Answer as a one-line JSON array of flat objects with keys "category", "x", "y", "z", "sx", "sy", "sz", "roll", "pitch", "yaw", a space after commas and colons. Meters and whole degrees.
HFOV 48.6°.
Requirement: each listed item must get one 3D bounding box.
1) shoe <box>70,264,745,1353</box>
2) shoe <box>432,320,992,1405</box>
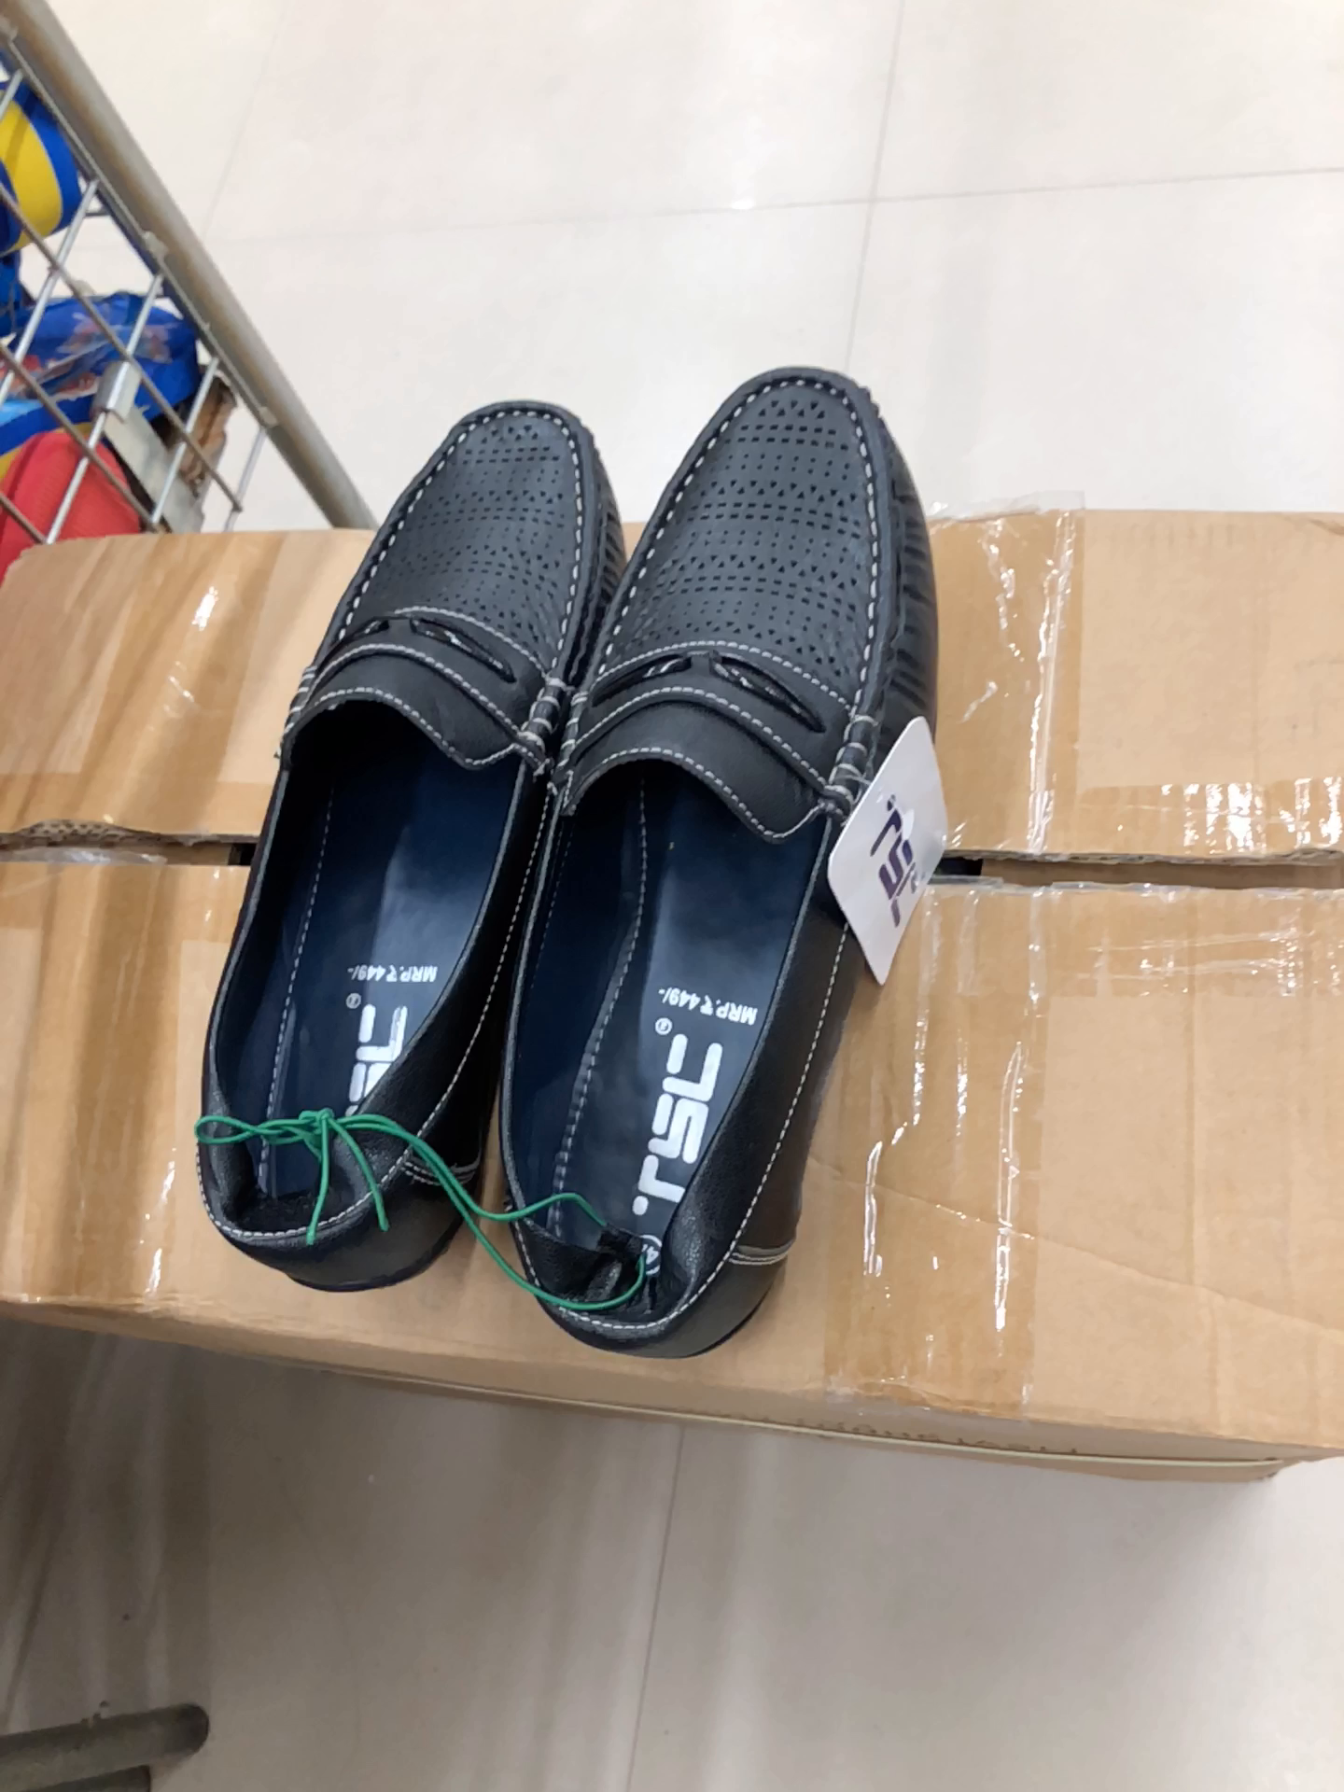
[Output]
[{"category": "shoe", "x": -0.061, "y": -0.036, "z": 0.448, "sx": 0.100, "sy": 0.090, "sz": 0.311, "roll": 5, "pitch": 68, "yaw": 16}, {"category": "shoe", "x": 0.028, "y": -0.020, "z": 0.451, "sx": 0.100, "sy": 0.090, "sz": 0.311, "roll": 5, "pitch": 68, "yaw": 16}]
